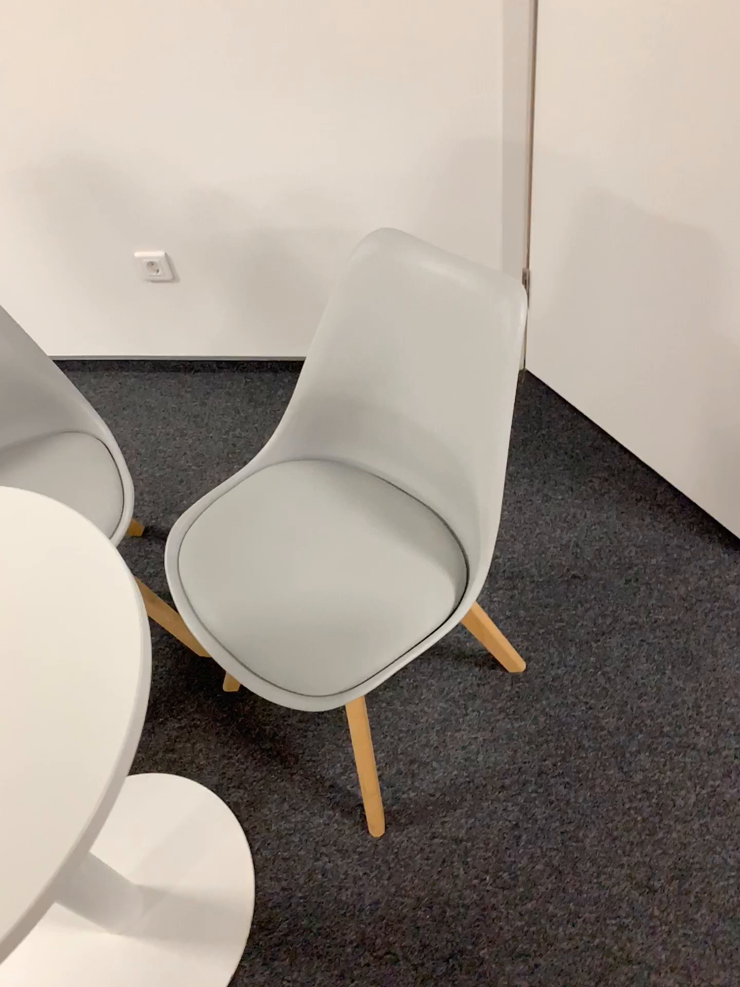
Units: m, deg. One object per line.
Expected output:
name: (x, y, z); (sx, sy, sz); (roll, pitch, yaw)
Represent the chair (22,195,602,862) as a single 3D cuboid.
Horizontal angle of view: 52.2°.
chair: (-0.023, 0.089, 1.180); (0.523, 0.810, 0.444); (-39, 54, -23)
